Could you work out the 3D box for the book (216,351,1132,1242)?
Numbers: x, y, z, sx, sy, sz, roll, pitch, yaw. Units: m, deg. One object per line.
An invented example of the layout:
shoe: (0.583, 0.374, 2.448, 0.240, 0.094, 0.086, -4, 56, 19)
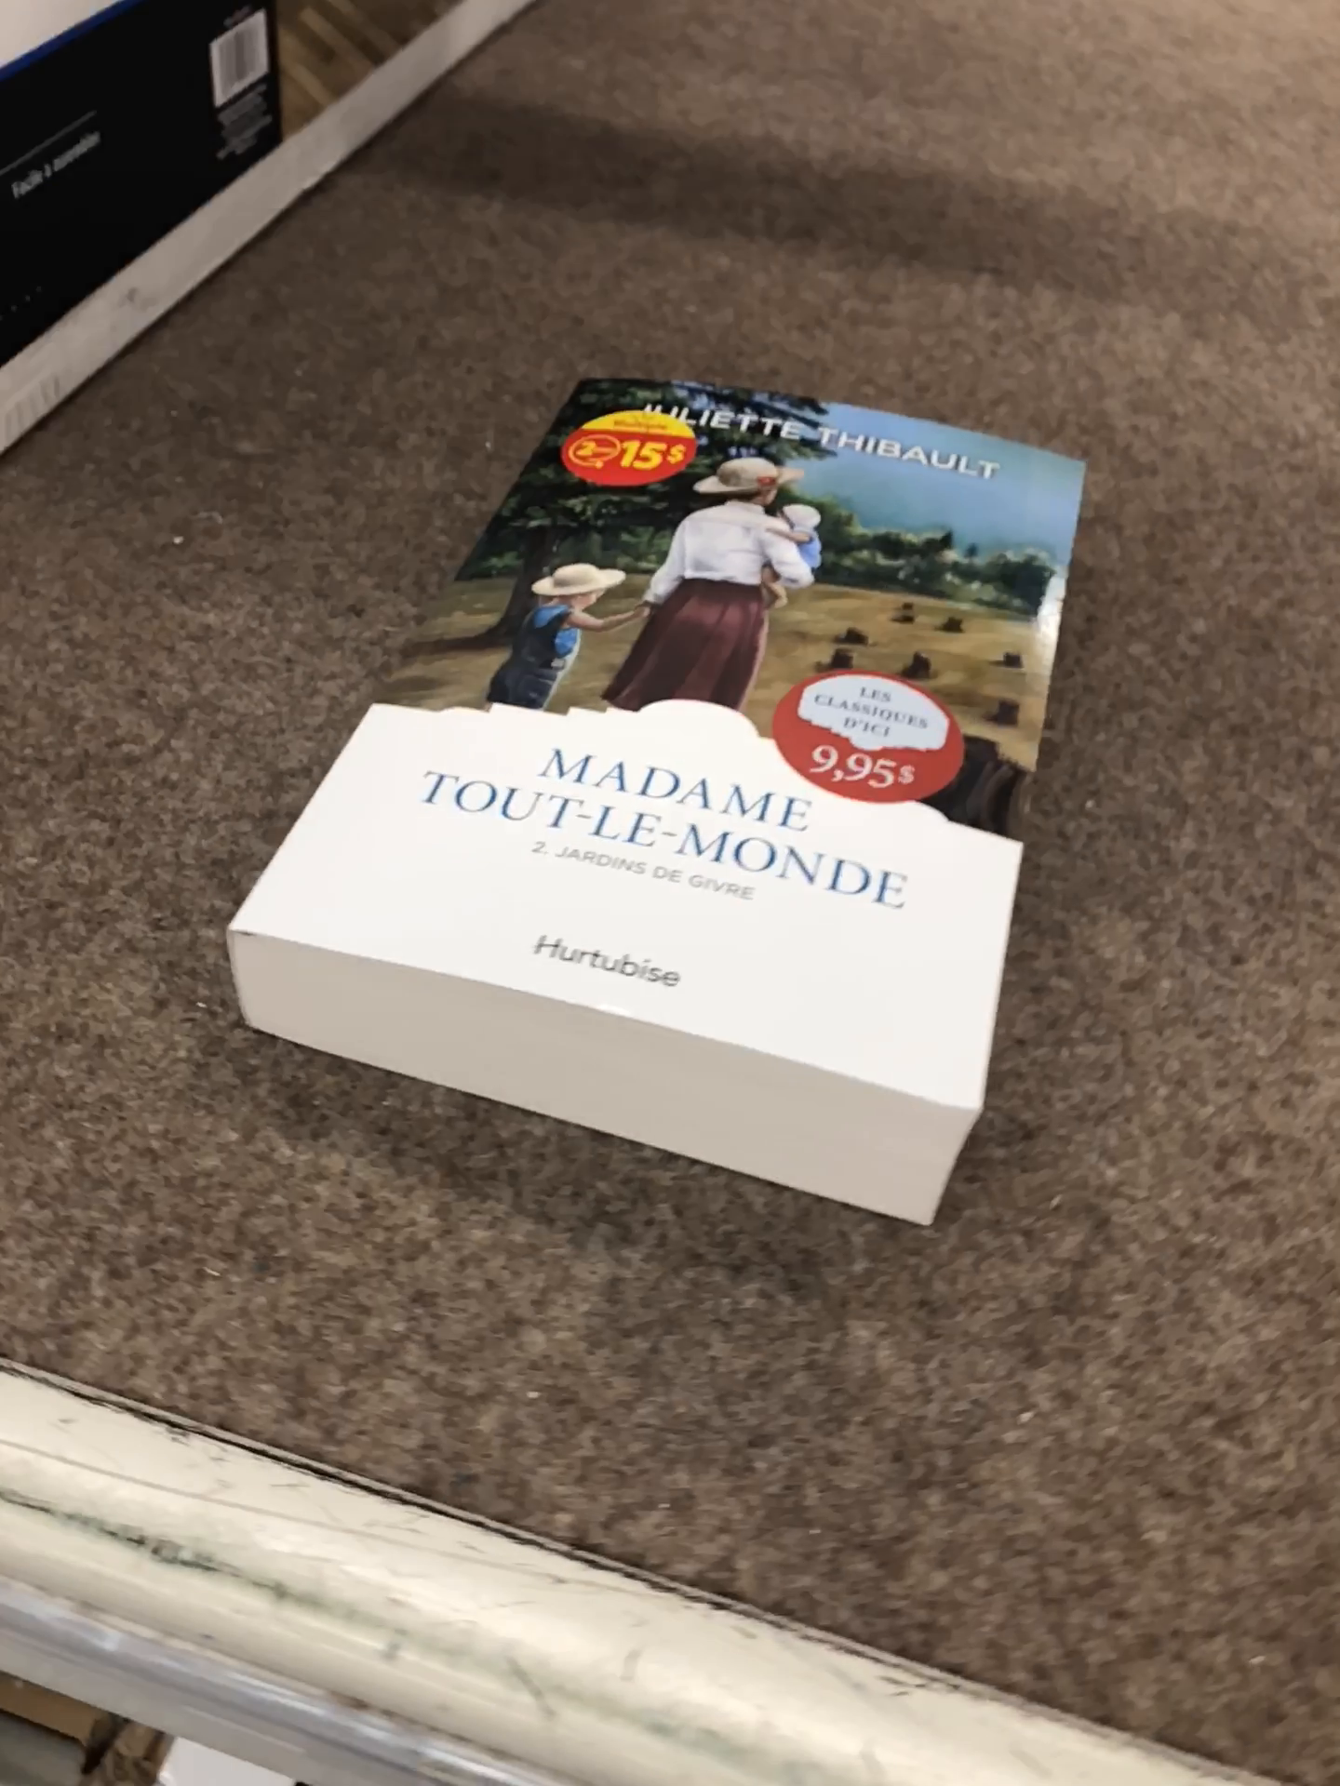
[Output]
book: (0.018, -0.043, 0.370, 0.160, 0.050, 0.222, 13, 51, 10)
